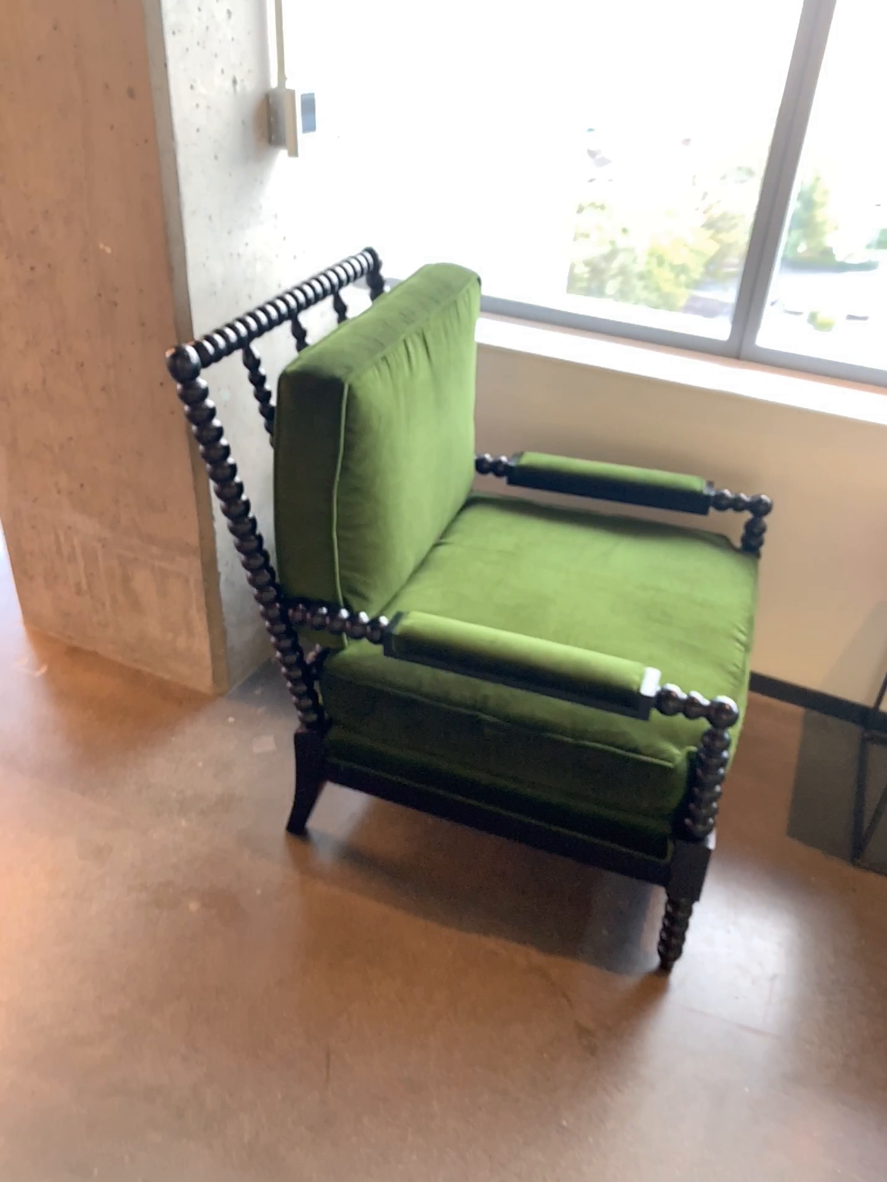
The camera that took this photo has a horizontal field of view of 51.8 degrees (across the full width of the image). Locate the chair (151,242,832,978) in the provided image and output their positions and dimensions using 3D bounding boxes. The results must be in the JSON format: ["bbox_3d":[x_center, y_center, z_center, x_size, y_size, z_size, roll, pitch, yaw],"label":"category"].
[{"bbox_3d":[0.117,-0.021,1.736,0.921,0.974,0.734,13,35,15],"label":"chair"}]
